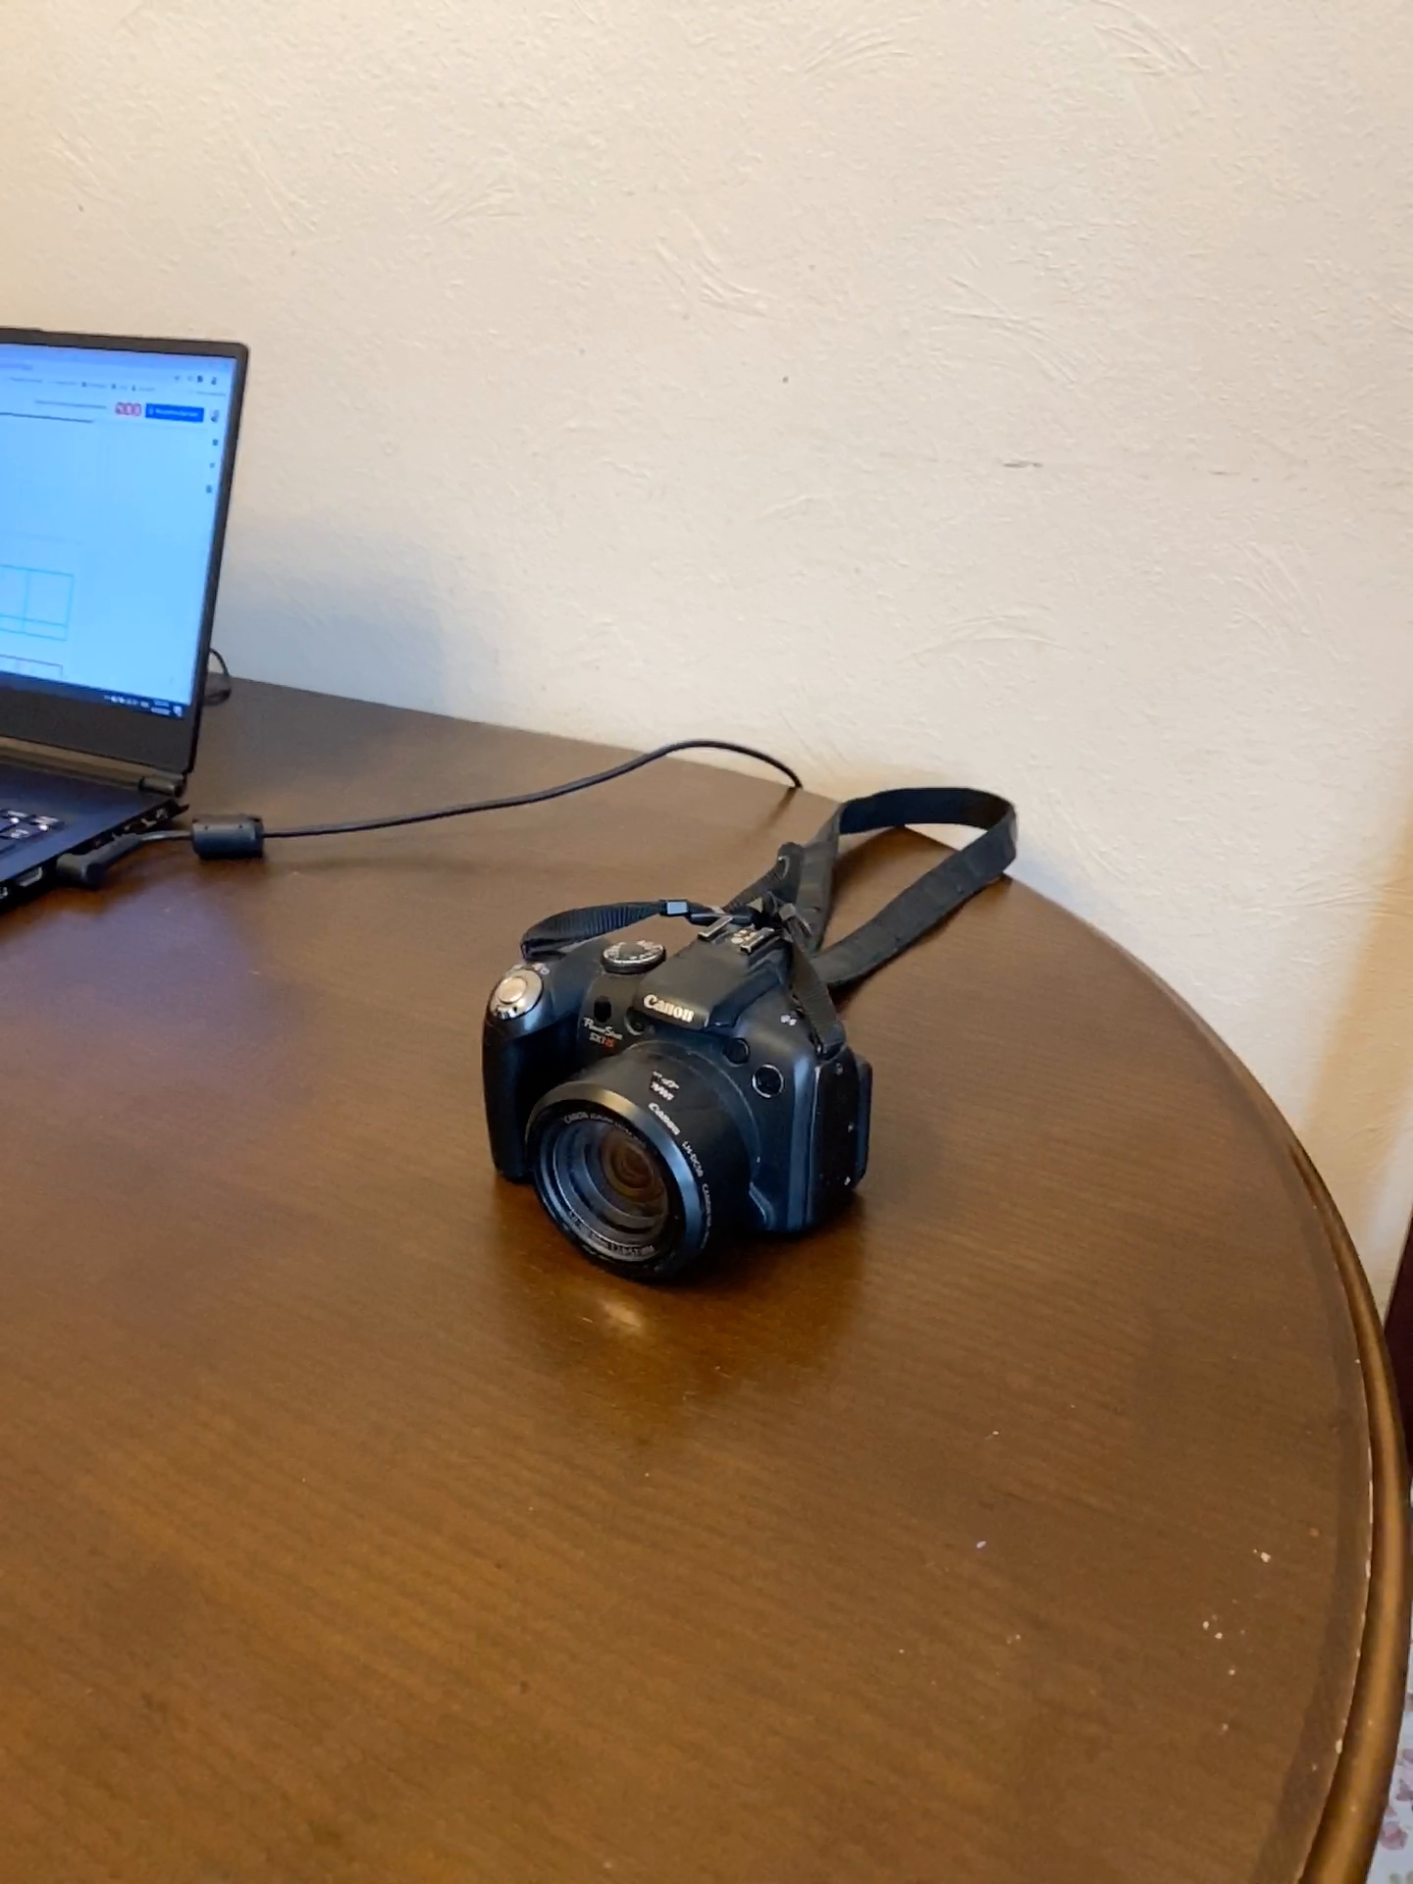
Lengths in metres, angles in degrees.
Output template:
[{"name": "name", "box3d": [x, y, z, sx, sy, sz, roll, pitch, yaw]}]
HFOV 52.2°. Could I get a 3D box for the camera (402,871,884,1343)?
[{"name": "camera", "box3d": [-0.020, 0.046, 0.460, 0.123, 0.088, 0.082, 17, 30, 29]}]
